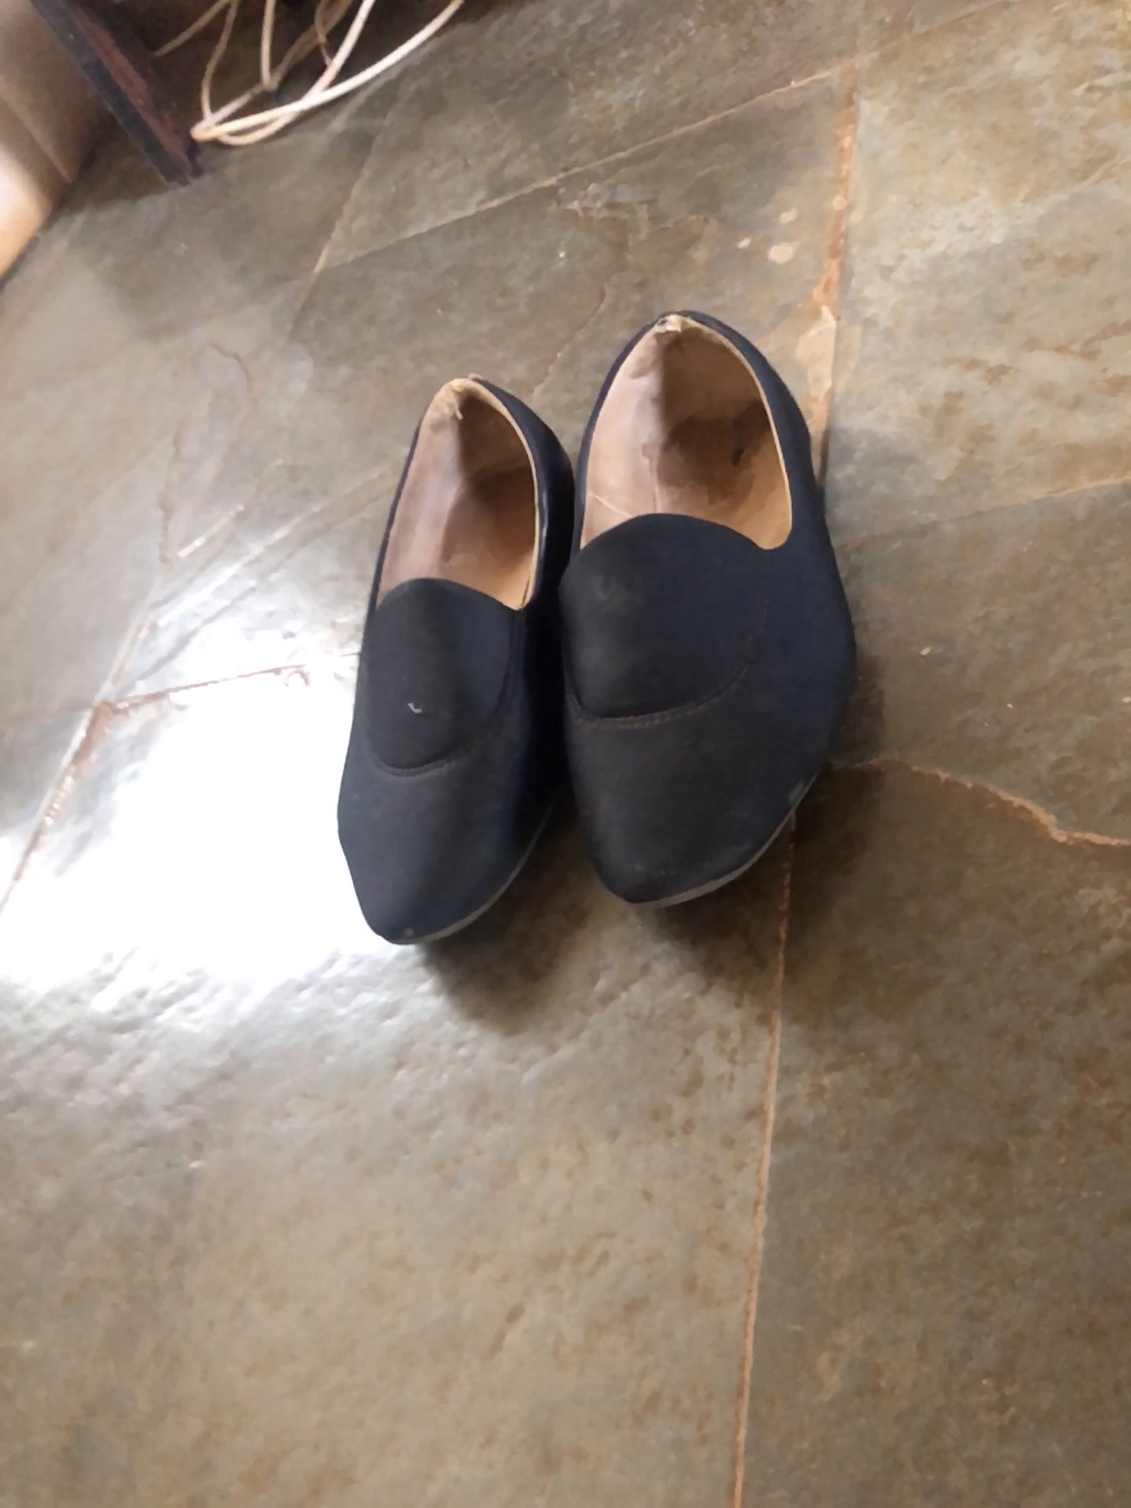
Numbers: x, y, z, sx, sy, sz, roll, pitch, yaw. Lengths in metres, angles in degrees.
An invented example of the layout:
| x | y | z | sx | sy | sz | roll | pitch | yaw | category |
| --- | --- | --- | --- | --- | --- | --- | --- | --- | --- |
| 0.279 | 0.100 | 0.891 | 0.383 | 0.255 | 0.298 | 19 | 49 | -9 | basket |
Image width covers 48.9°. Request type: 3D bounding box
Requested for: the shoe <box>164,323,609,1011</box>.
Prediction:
| x | y | z | sx | sy | sz | roll | pitch | yaw | category |
| --- | --- | --- | --- | --- | --- | --- | --- | --- | --- |
| -0.056 | -0.045 | 0.502 | 0.110 | 0.080 | 0.272 | -14 | 47 | 23 | shoe |

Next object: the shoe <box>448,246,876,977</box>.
| x | y | z | sx | sy | sz | roll | pitch | yaw | category |
| --- | --- | --- | --- | --- | --- | --- | --- | --- | --- |
| 0.050 | -0.062 | 0.465 | 0.110 | 0.080 | 0.272 | -11 | 49 | 26 | shoe |
